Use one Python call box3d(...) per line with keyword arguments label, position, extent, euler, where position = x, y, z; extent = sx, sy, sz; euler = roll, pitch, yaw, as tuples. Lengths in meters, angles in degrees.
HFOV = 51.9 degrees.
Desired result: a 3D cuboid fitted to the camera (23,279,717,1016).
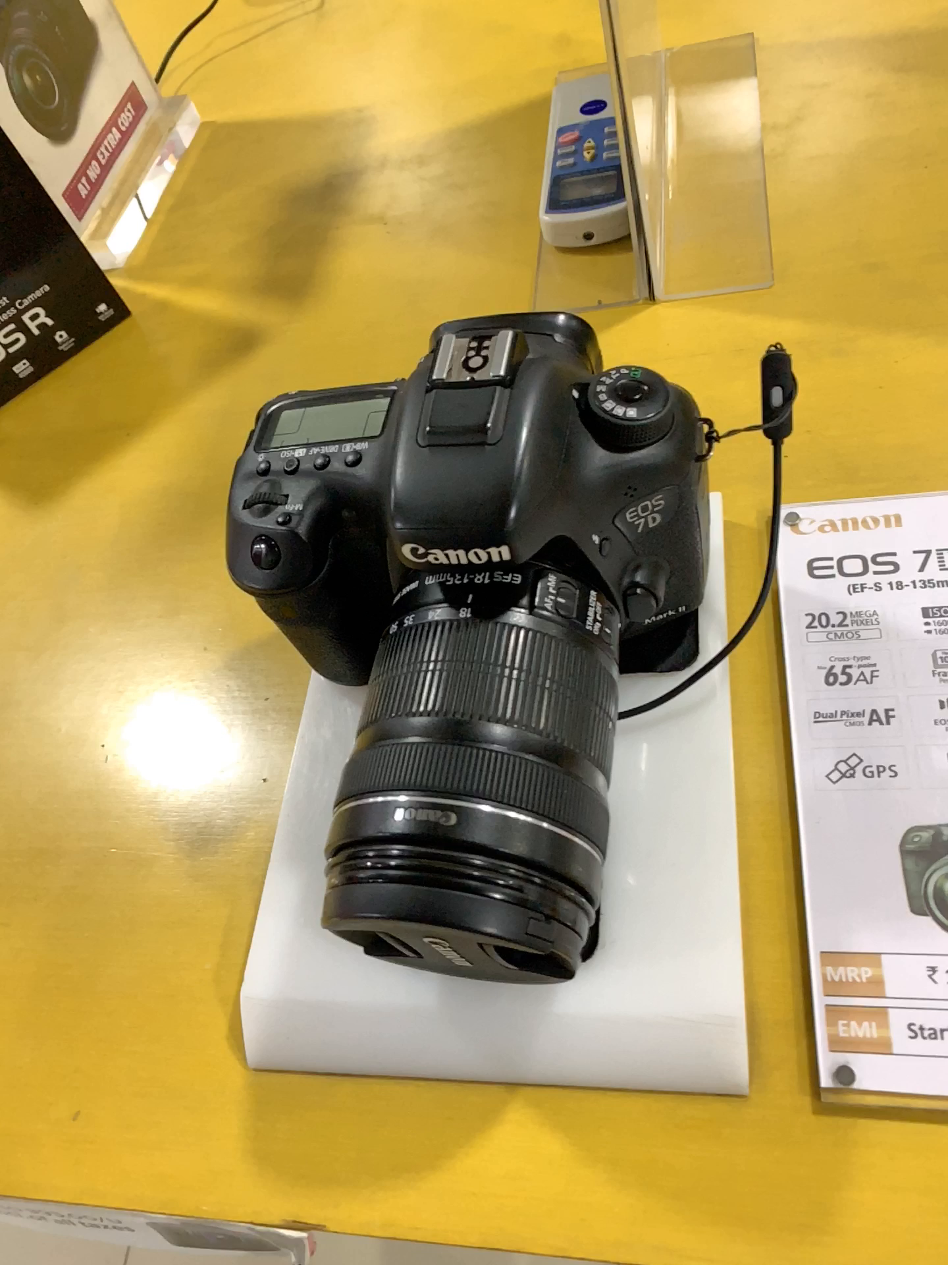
box3d(label="camera", position=(-0.006, 0.007, 0.284), extent=(0.140, 0.120, 0.160), euler=(0, 58, 17))
